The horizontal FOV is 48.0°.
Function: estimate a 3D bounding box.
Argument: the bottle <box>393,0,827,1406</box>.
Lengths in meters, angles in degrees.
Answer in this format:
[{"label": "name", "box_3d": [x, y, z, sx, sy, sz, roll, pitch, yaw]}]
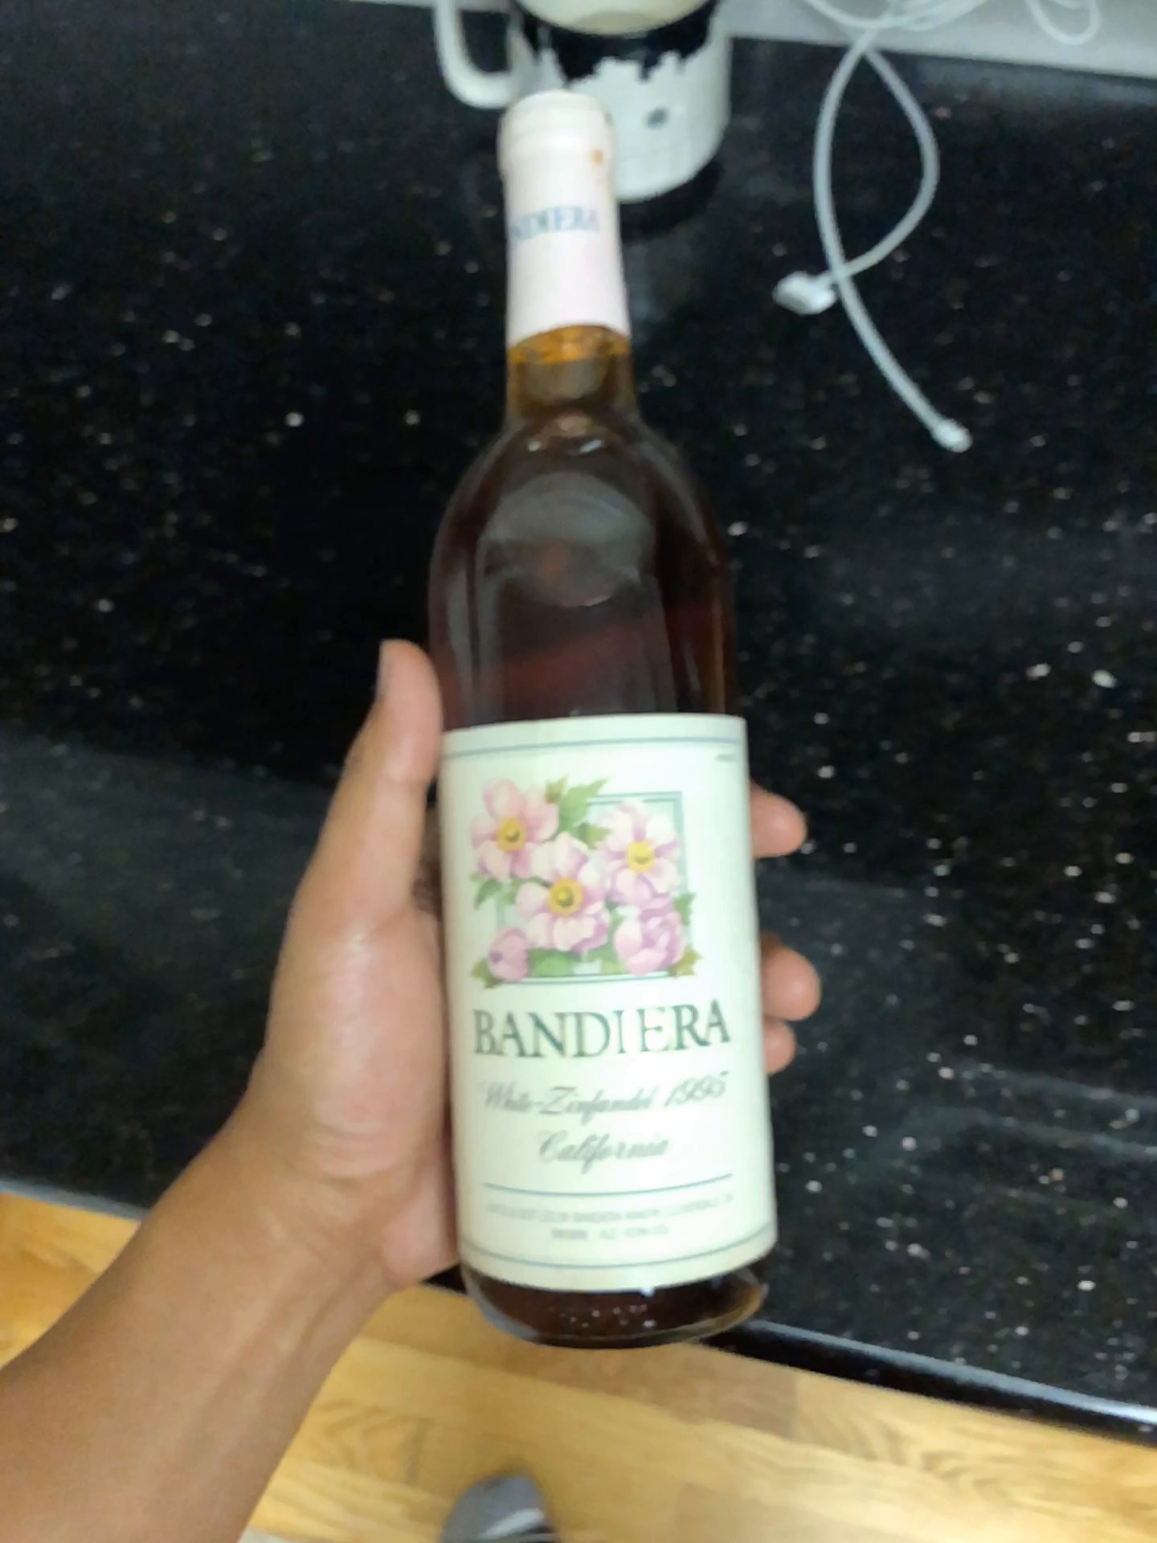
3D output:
[{"label": "bottle", "box_3d": [0.006, -0.019, 0.311, 0.080, 0.070, 0.300, -2, 86, 3]}]
